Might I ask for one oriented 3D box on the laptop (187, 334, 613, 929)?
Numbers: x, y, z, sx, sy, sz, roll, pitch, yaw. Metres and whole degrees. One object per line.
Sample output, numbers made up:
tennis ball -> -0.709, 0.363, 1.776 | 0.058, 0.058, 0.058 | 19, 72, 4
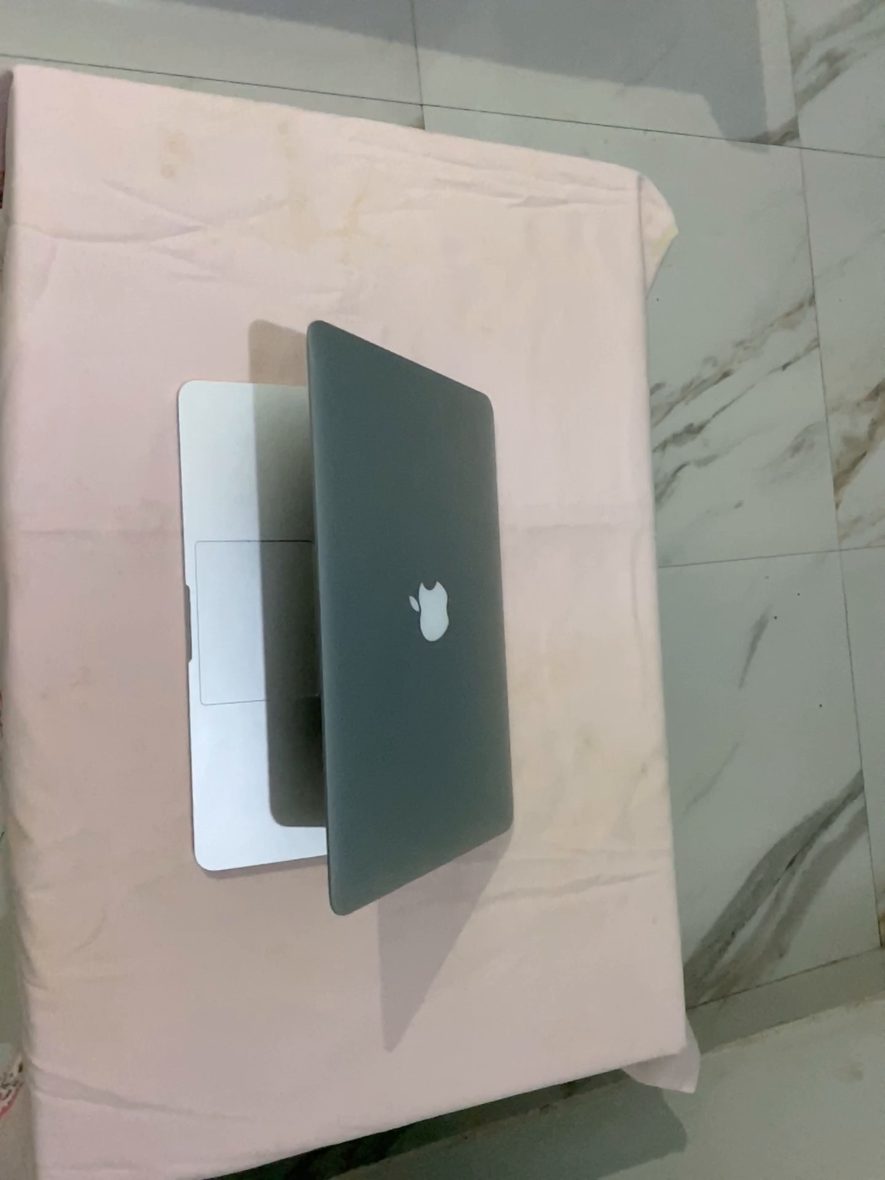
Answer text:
laptop -> -0.033, 0.020, 0.547 | 0.209, 0.139, 0.296 | -3, 89, -21
